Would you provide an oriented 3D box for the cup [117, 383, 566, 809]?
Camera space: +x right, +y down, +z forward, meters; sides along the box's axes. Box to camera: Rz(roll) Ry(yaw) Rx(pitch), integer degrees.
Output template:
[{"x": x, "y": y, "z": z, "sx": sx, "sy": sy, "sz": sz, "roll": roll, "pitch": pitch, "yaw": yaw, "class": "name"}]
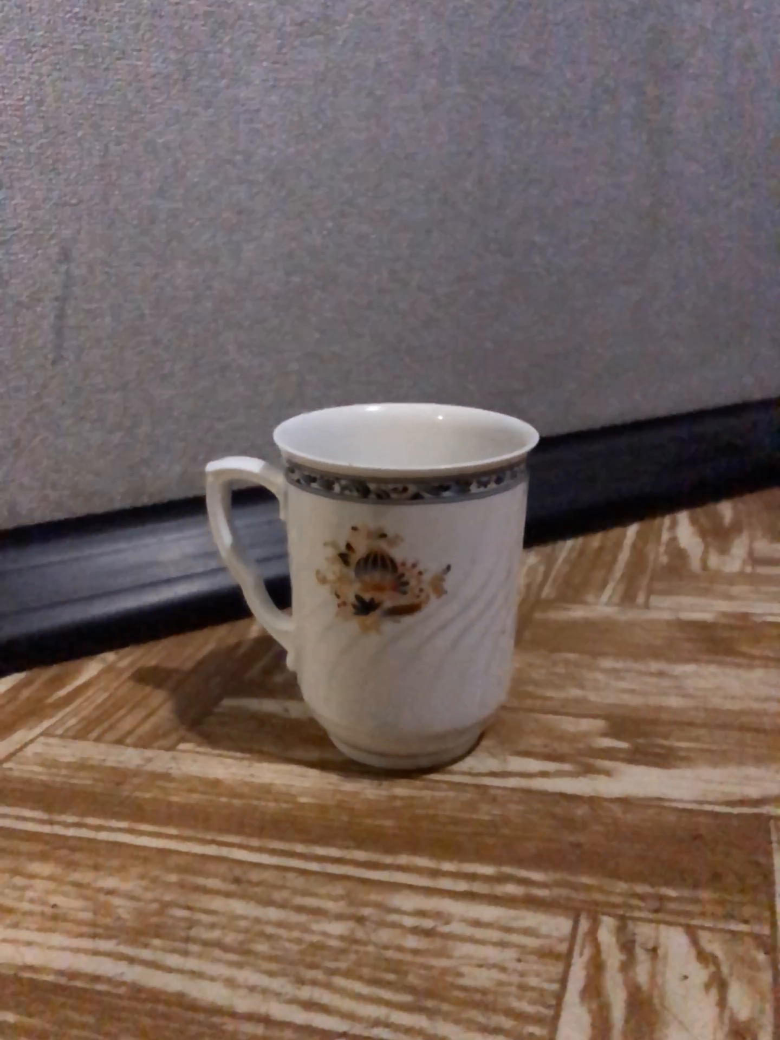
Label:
[{"x": -0.013, "y": 0.015, "z": 0.290, "sx": 0.118, "sy": 0.099, "sz": 0.077, "roll": 9, "pitch": 22, "yaw": 26, "class": "cup"}]
